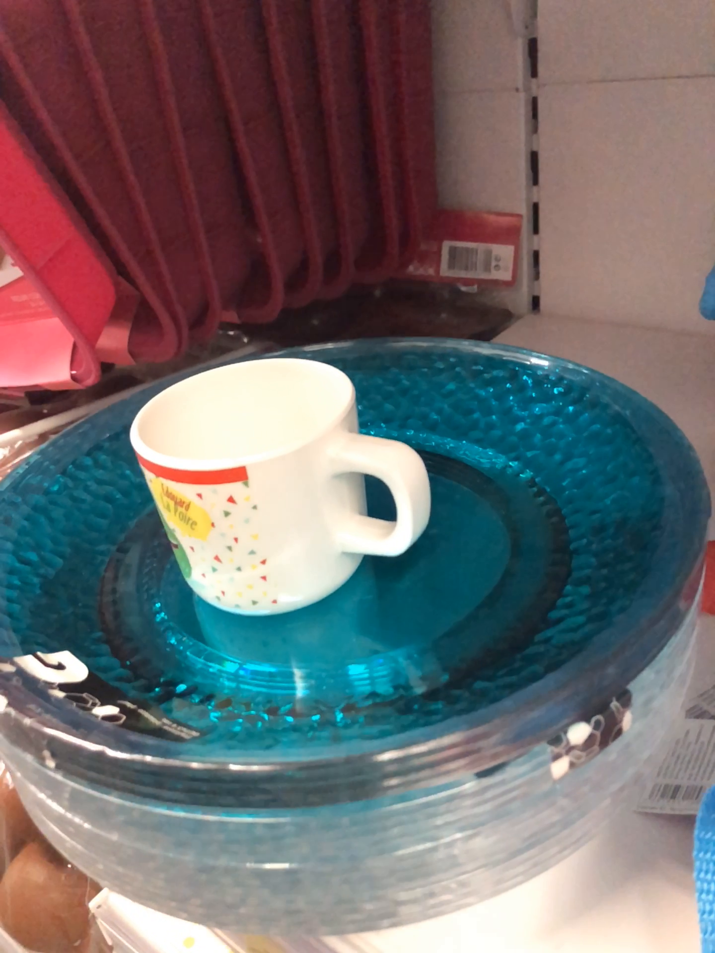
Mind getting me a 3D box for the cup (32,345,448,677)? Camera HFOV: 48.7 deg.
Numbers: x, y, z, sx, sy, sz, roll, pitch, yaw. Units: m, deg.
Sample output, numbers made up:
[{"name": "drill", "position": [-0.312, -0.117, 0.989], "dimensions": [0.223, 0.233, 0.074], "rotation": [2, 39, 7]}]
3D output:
[{"name": "cup", "position": [-0.035, 0.004, 0.264], "dimensions": [0.102, 0.059, 0.077], "rotation": [12, 38, 30]}]
